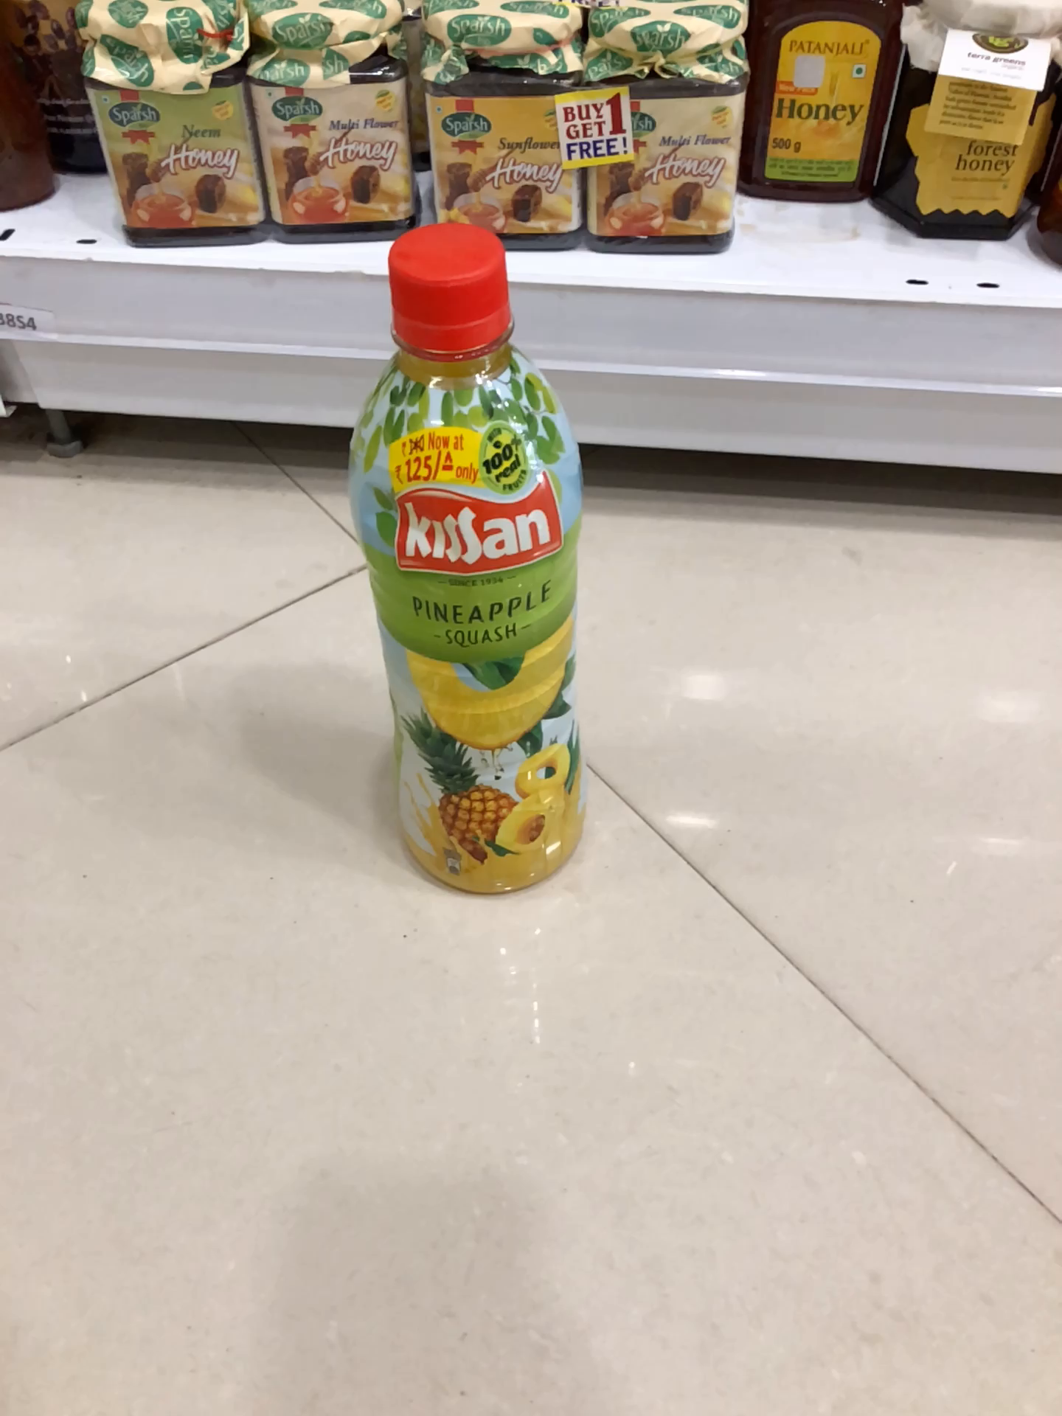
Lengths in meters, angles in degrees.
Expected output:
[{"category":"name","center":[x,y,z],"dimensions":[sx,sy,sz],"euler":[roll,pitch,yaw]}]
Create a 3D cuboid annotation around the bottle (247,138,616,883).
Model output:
[{"category":"bottle","center":[-0.021,-0.043,0.368],"dimensions":[0.080,0.229,0.080],"euler":[-1,50,1]}]
